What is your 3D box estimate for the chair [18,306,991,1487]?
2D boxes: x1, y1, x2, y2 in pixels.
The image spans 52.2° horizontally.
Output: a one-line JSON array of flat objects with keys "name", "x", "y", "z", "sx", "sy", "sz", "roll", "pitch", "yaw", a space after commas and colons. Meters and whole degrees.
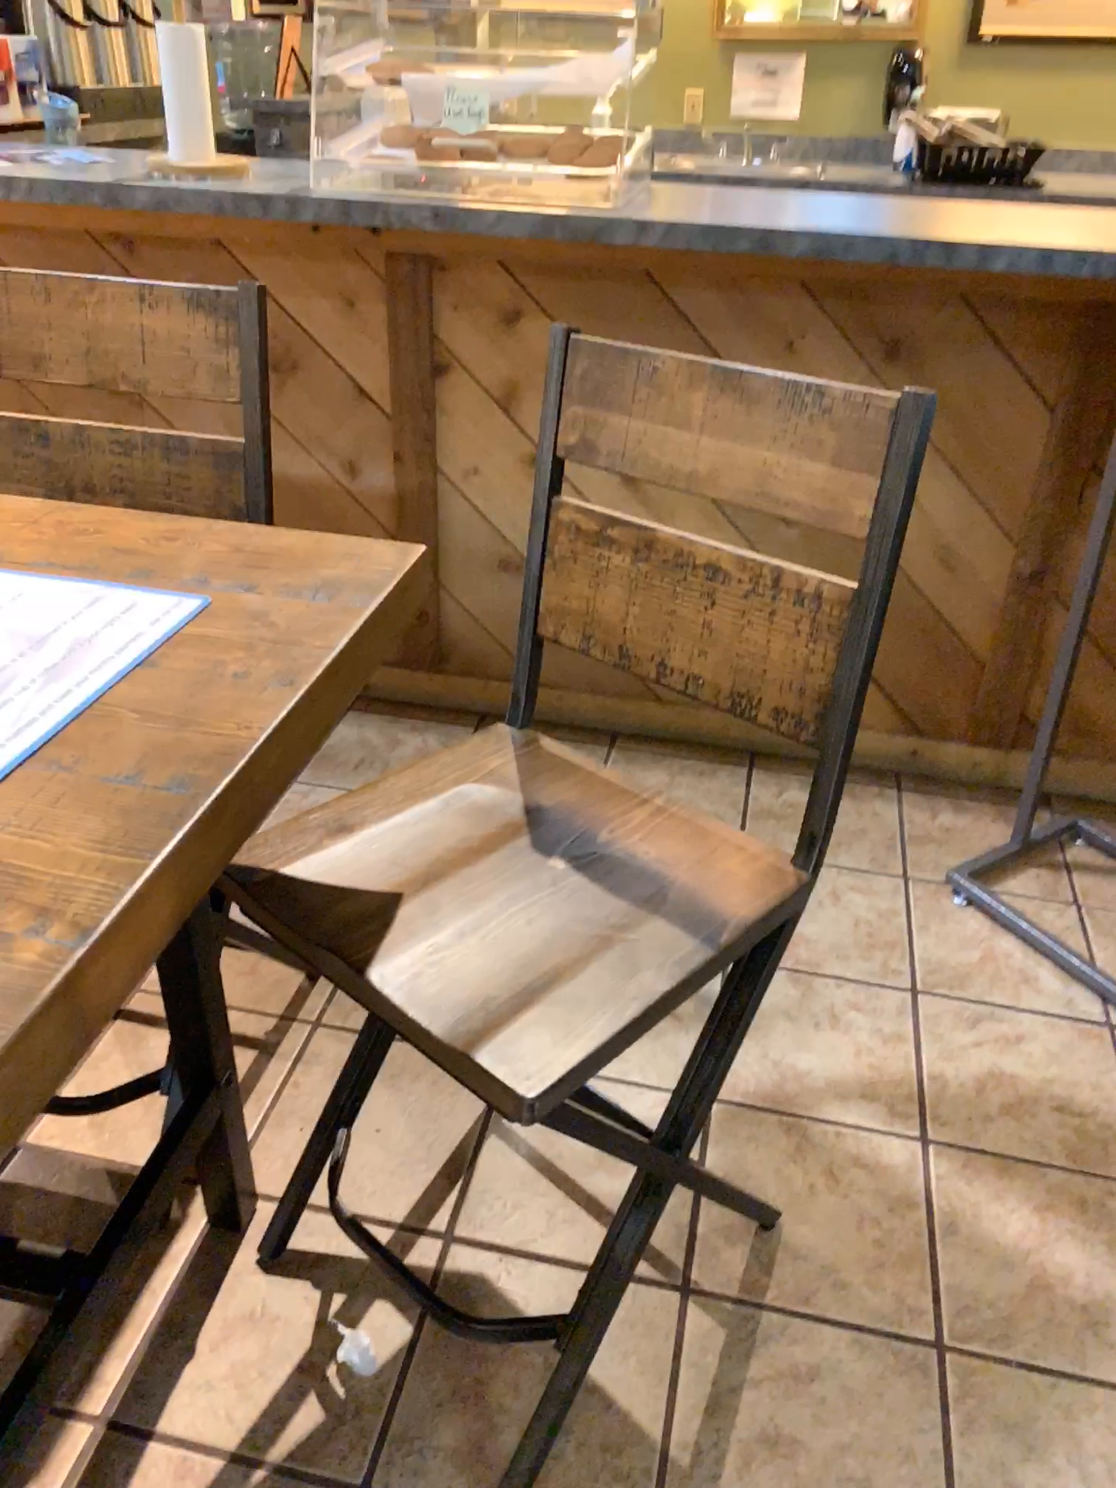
[{"name": "chair", "x": -0.009, "y": 0.159, "z": 1.141, "sx": 0.617, "sy": 0.983, "sz": 0.443, "roll": -29, "pitch": 41, "yaw": -36}]

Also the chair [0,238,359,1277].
[{"name": "chair", "x": -0.615, "y": 0.010, "z": 1.359, "sx": 0.492, "sy": 1.003, "sz": 0.618, "roll": 8, "pitch": 34, "yaw": 9}]
